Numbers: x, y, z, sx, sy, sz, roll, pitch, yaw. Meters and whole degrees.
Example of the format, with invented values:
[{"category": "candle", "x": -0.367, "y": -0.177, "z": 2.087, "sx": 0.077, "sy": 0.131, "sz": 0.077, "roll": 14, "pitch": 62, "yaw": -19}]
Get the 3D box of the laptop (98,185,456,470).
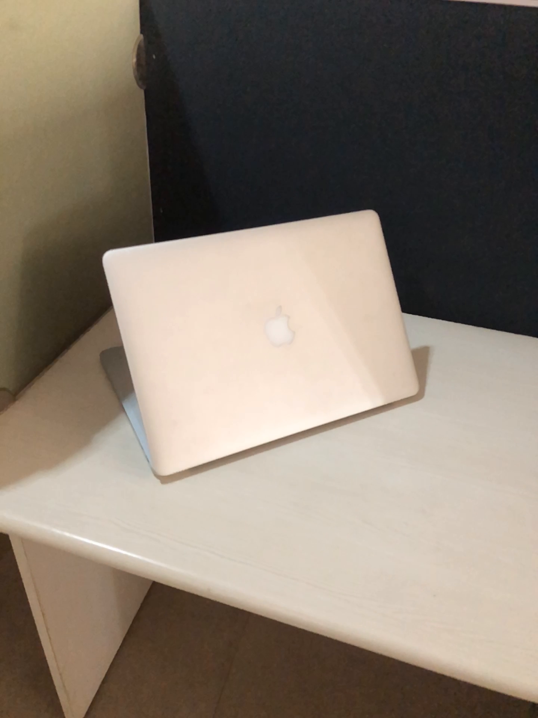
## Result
[{"category": "laptop", "x": 0.000, "y": -0.063, "z": 0.731, "sx": 0.343, "sy": 0.197, "sz": 0.236, "roll": -14, "pitch": 39, "yaw": -25}]
